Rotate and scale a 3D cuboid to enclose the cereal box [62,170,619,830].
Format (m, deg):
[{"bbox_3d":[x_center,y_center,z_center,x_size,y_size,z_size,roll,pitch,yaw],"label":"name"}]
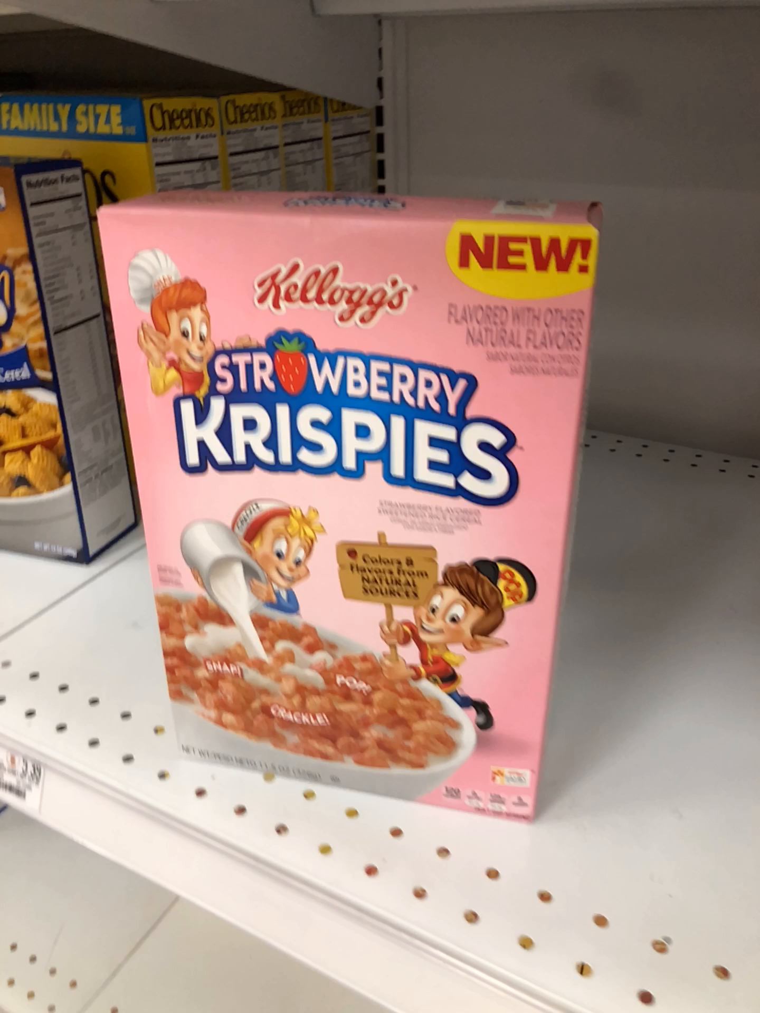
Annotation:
[{"bbox_3d":[-0.008,0.004,0.390,0.200,0.289,0.070,6,30,14],"label":"cereal box"}]
